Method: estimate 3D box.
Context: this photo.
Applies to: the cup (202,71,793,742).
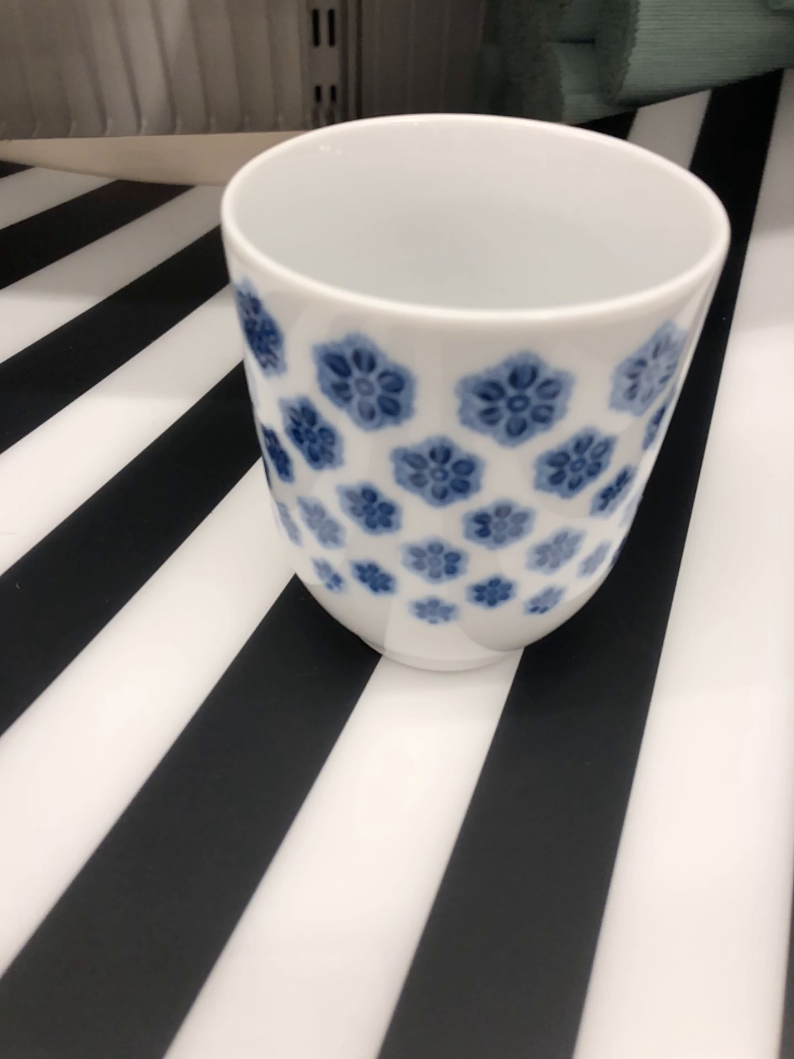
[{"bbox_3d":[0.008,-0.024,0.155,0.070,0.080,0.080,-5,42,-7],"label":"cup"}]
